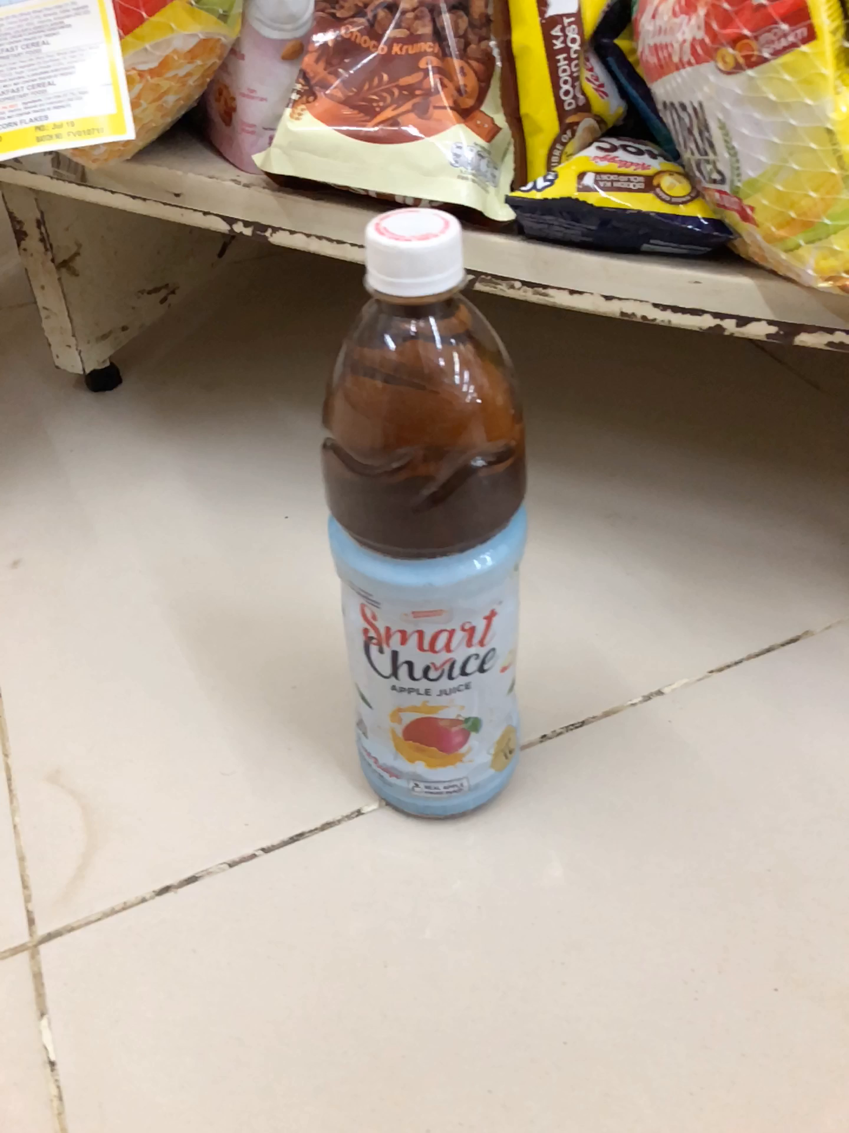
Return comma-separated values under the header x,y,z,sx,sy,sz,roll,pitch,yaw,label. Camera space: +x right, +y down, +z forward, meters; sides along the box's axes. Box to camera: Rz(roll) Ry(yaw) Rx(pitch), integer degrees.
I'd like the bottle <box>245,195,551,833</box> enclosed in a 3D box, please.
x,y,z,sx,sy,sz,roll,pitch,yaw,label
0.000,-0.004,0.365,0.080,0.248,0.081,-1,42,1,bottle
